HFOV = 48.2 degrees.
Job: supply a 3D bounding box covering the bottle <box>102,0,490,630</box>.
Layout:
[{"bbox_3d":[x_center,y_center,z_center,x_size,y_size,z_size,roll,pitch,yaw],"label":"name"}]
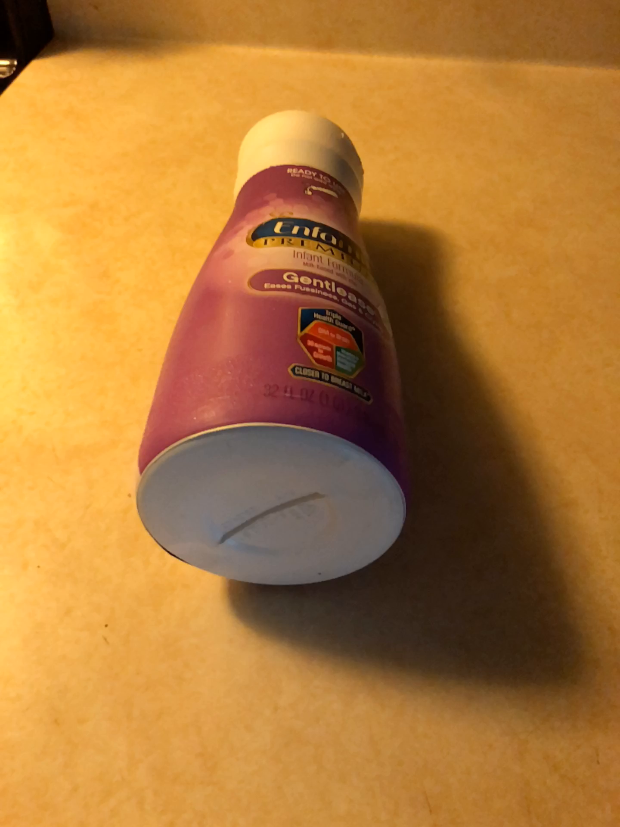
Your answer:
[{"bbox_3d":[-0.003,-0.068,0.299,0.090,0.100,0.280,15,47,-11],"label":"bottle"}]
